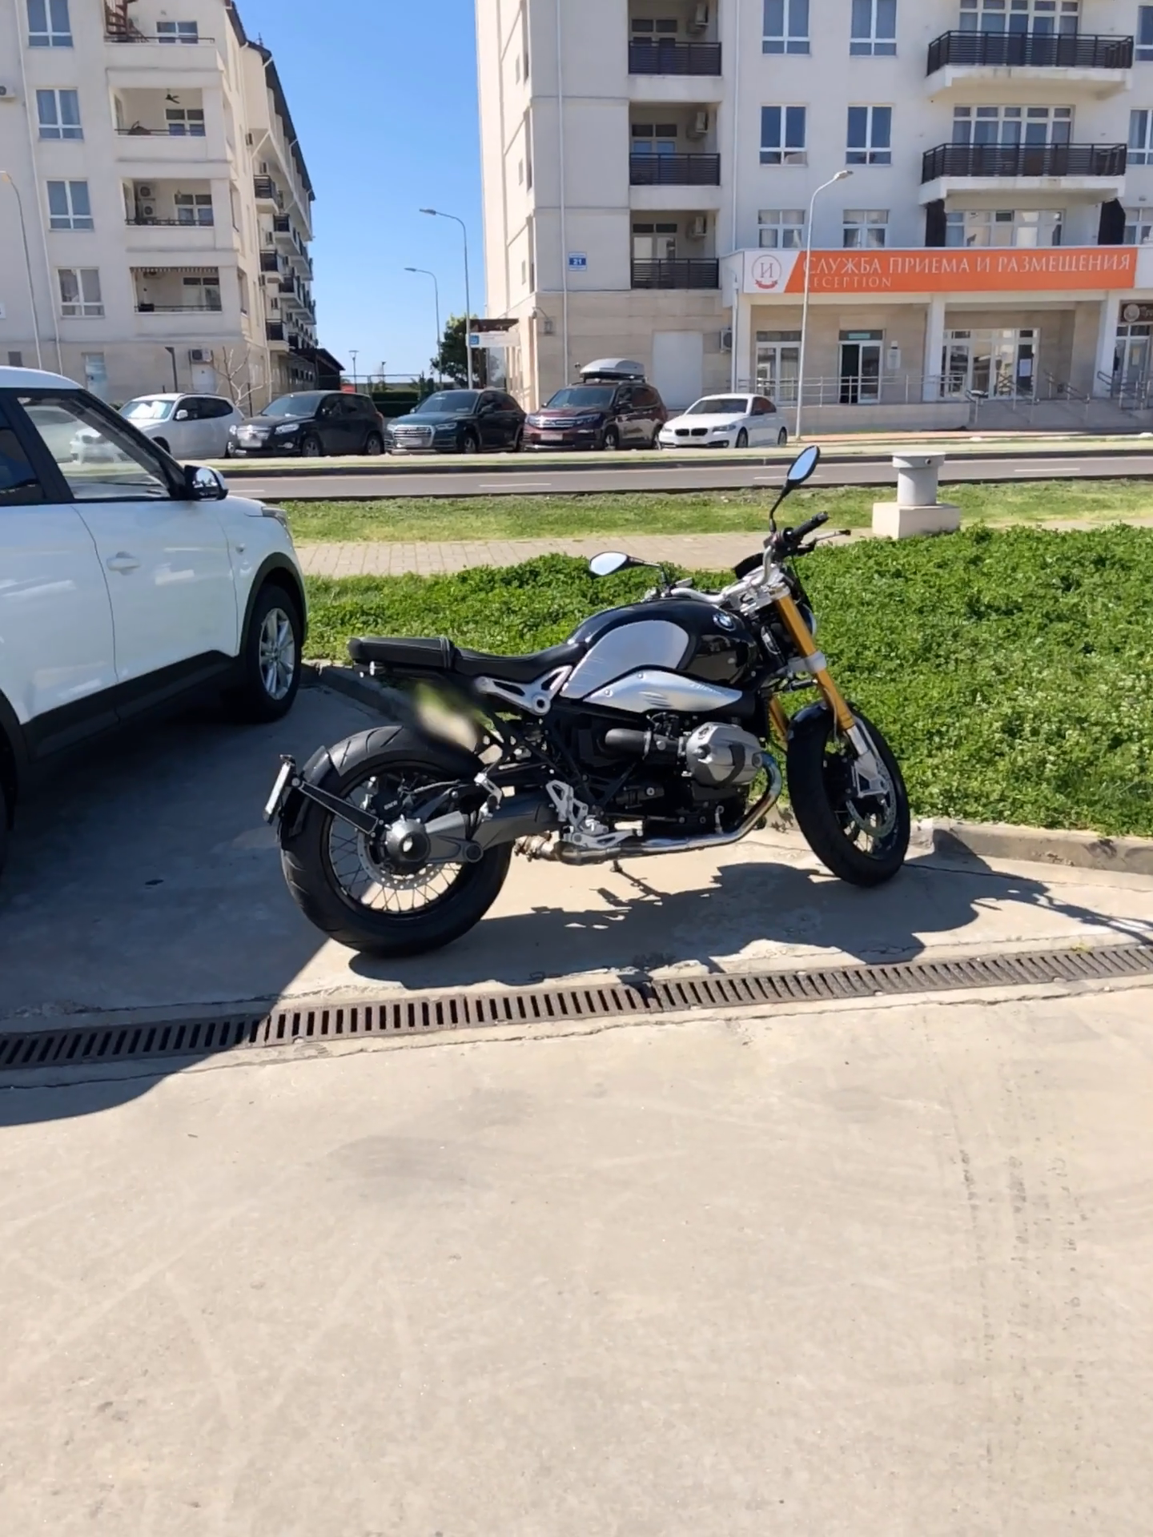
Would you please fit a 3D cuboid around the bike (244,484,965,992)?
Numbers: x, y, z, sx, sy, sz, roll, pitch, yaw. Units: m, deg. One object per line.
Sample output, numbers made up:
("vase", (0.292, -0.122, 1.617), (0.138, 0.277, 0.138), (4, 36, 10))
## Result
("bike", (0.090, -0.205, 3.519), (1.833, 1.013, 0.779), (-9, 17, -24))
